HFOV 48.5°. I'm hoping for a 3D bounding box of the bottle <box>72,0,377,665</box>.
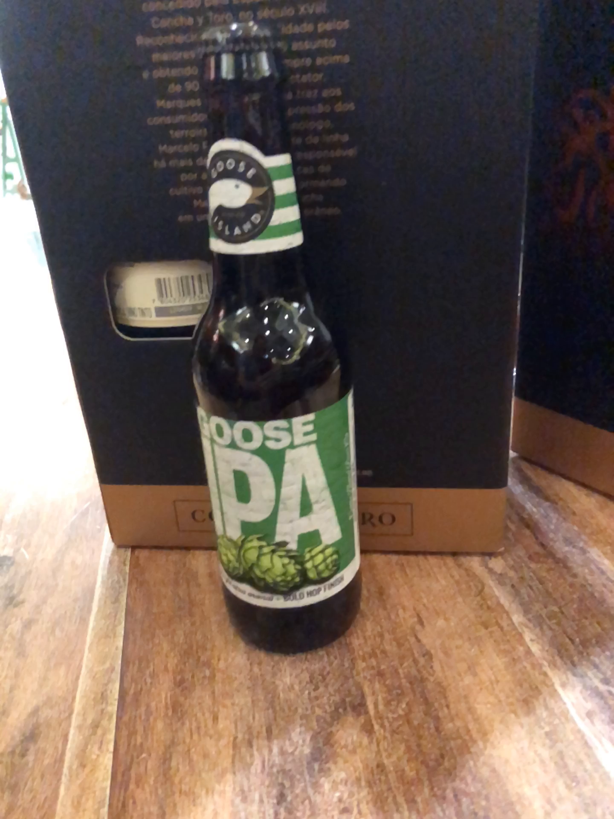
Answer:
[{"bbox_3d":[-0.015,-0.018,0.250,0.070,0.228,0.060,1,25,11],"label":"bottle"}]
